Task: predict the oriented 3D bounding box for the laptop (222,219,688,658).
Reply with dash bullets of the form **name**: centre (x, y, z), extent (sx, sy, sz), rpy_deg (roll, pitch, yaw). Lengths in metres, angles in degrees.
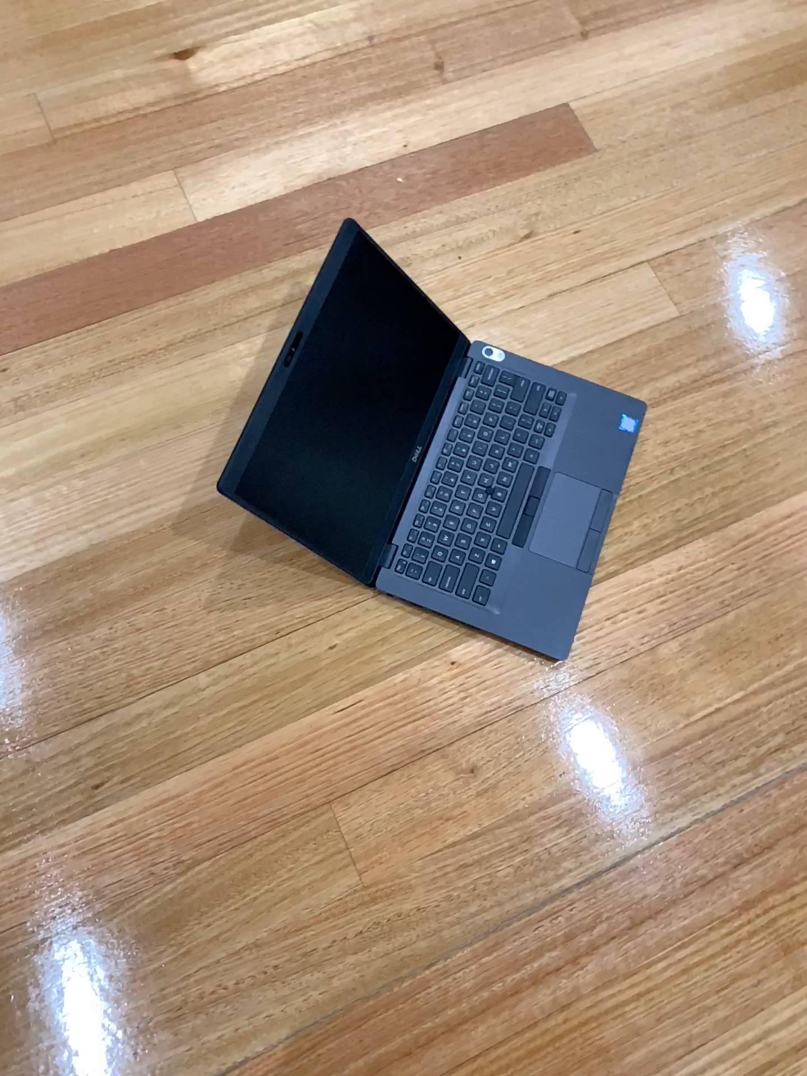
- **laptop**: centre (0.057, -0.103, 0.864), extent (0.372, 0.134, 0.321), rpy_deg (21, 72, 2)
